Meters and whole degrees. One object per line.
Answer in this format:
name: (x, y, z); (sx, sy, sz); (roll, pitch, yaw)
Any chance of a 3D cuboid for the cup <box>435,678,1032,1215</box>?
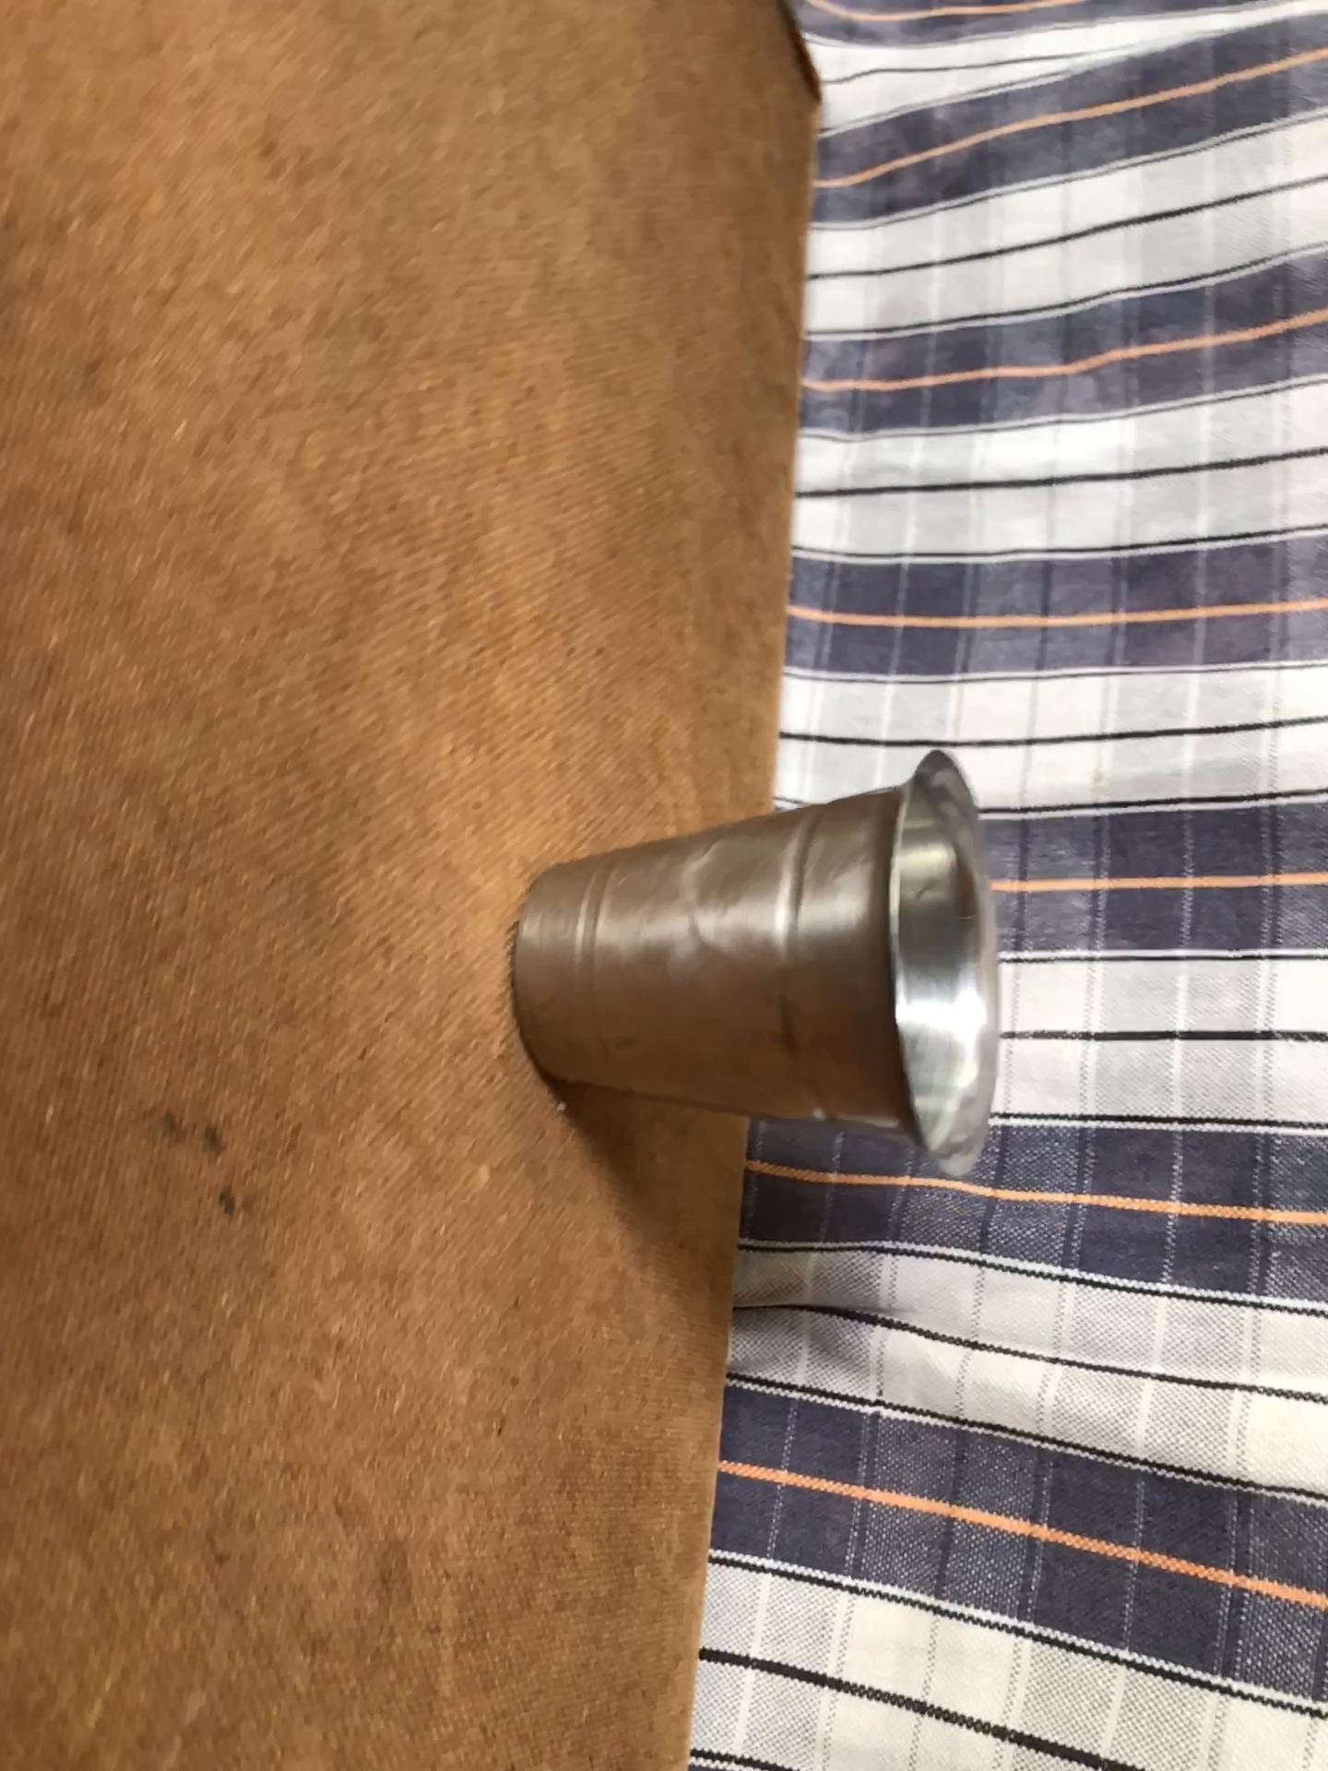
cup: (0.018, 0.013, 0.270); (0.060, 0.079, 0.070); (-67, 145, -46)
